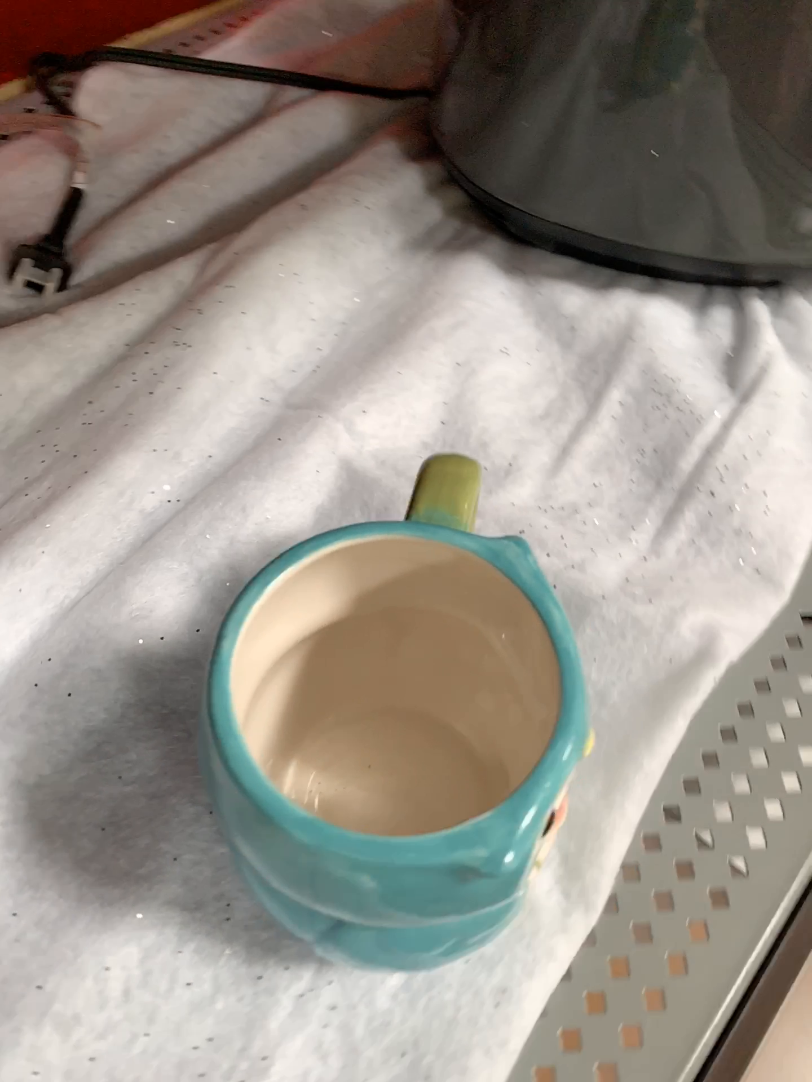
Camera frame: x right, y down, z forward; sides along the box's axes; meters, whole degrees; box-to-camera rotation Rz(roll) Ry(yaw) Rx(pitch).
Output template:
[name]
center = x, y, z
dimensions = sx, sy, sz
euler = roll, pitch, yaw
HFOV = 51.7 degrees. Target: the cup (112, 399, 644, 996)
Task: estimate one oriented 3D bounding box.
[cup]
center = 0.001, 0.045, 0.240
dimensions = 0.107, 0.087, 0.127
euler = 10, 57, 2
